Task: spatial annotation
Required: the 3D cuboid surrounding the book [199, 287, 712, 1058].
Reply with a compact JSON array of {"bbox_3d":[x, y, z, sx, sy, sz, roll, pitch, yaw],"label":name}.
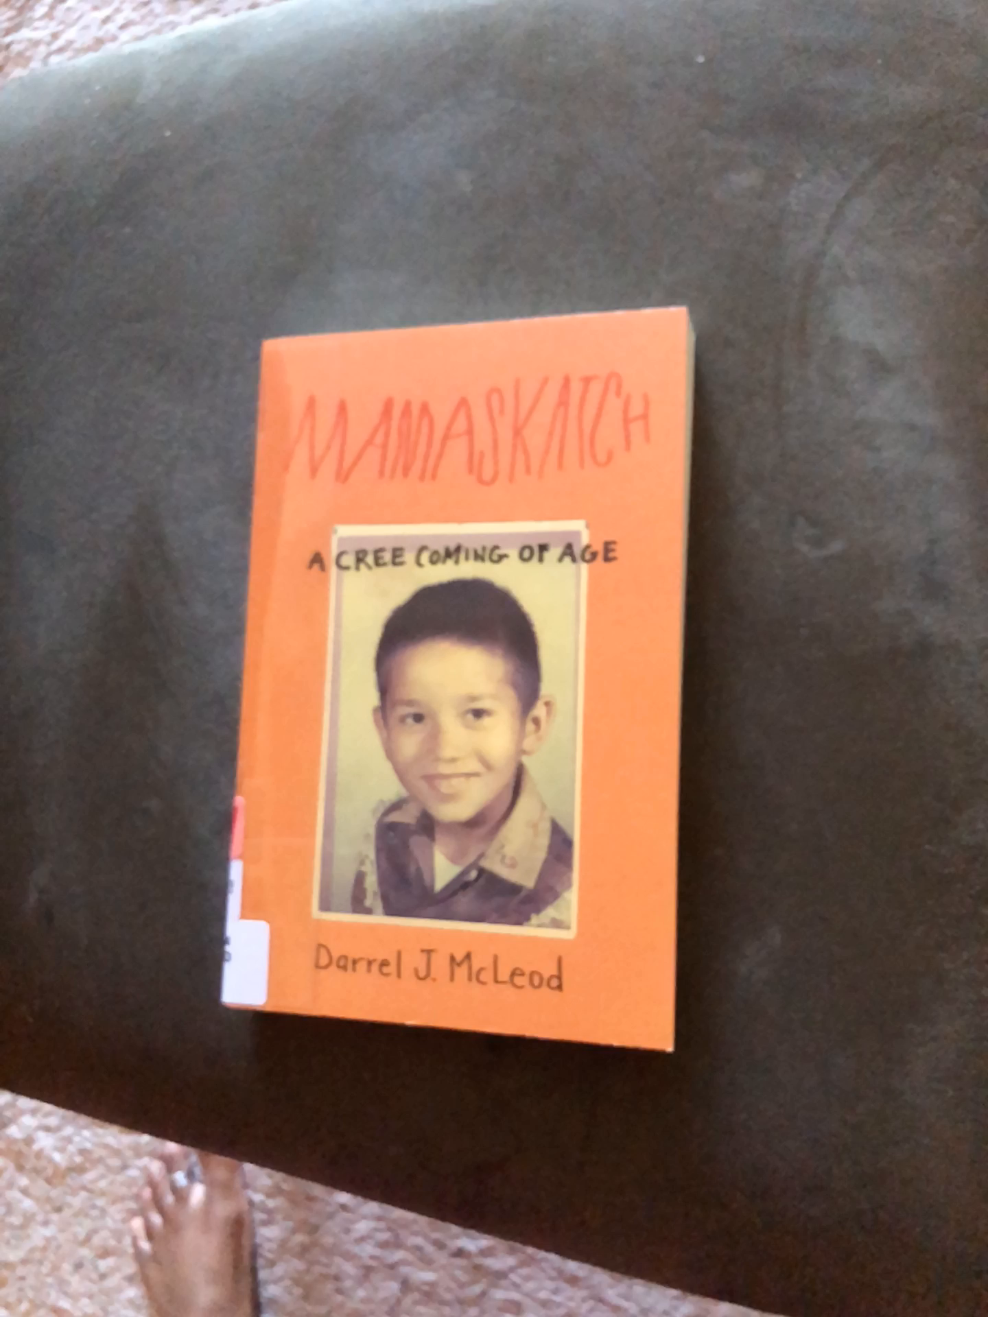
[{"bbox_3d":[-0.011,0.002,0.352,0.150,0.040,0.218,1,85,17],"label":"book"}]
